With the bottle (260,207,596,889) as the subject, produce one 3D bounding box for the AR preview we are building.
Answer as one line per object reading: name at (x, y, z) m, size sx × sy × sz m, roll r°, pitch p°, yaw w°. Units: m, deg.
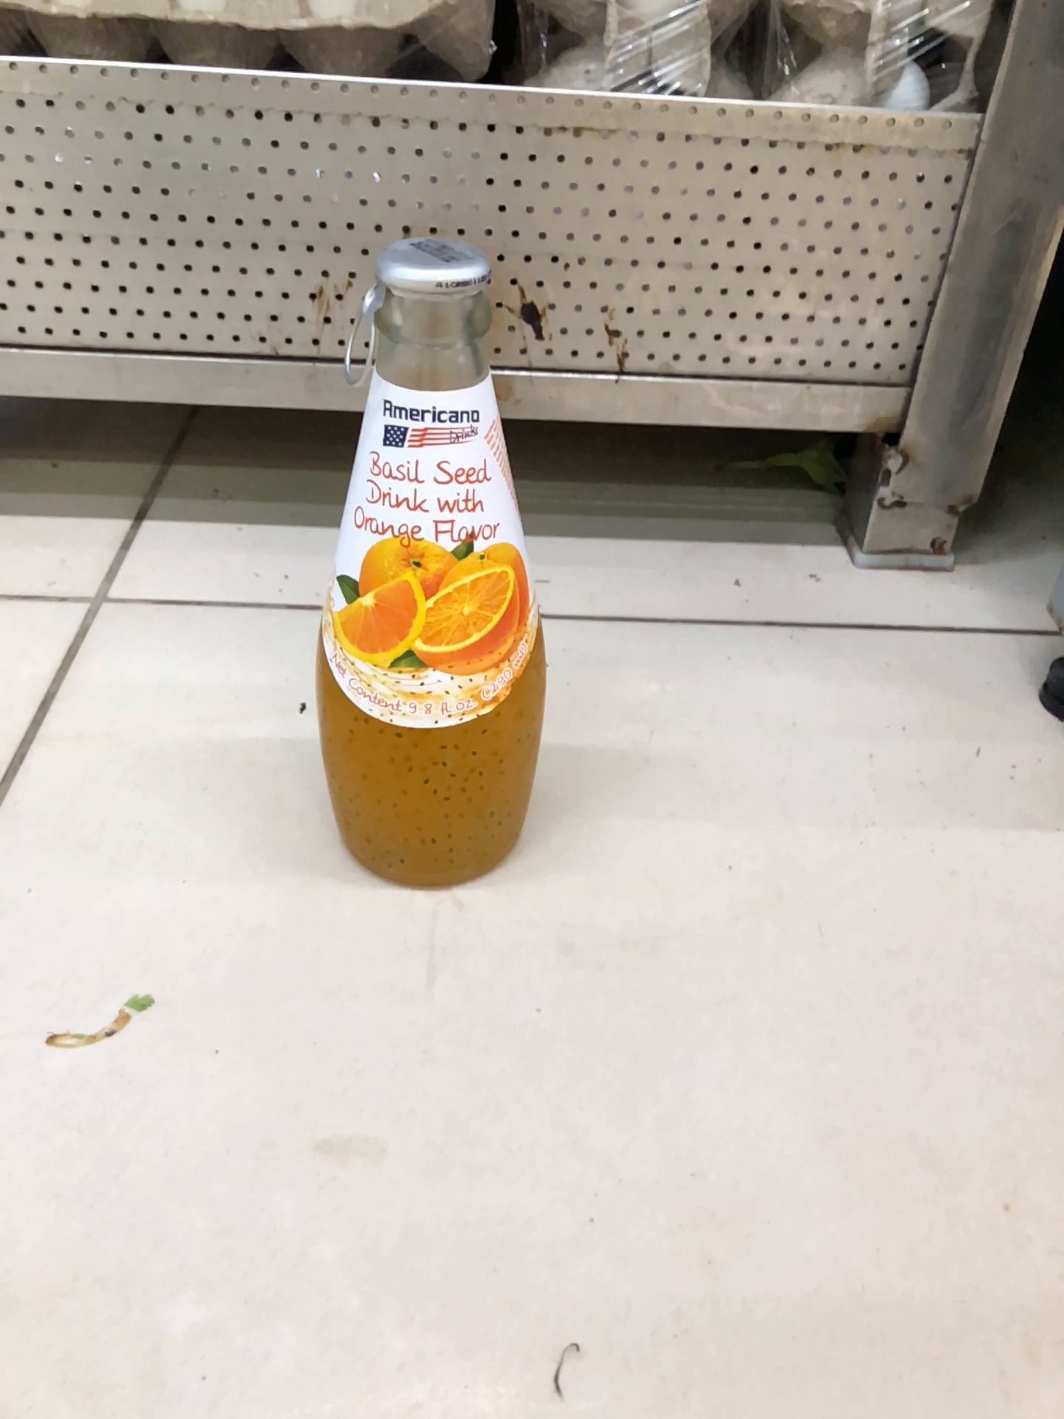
bottle at (-0.029, -0.039, 0.323) m, size 0.070 × 0.169 × 0.070 m, roll 2°, pitch 35°, yaw -2°
